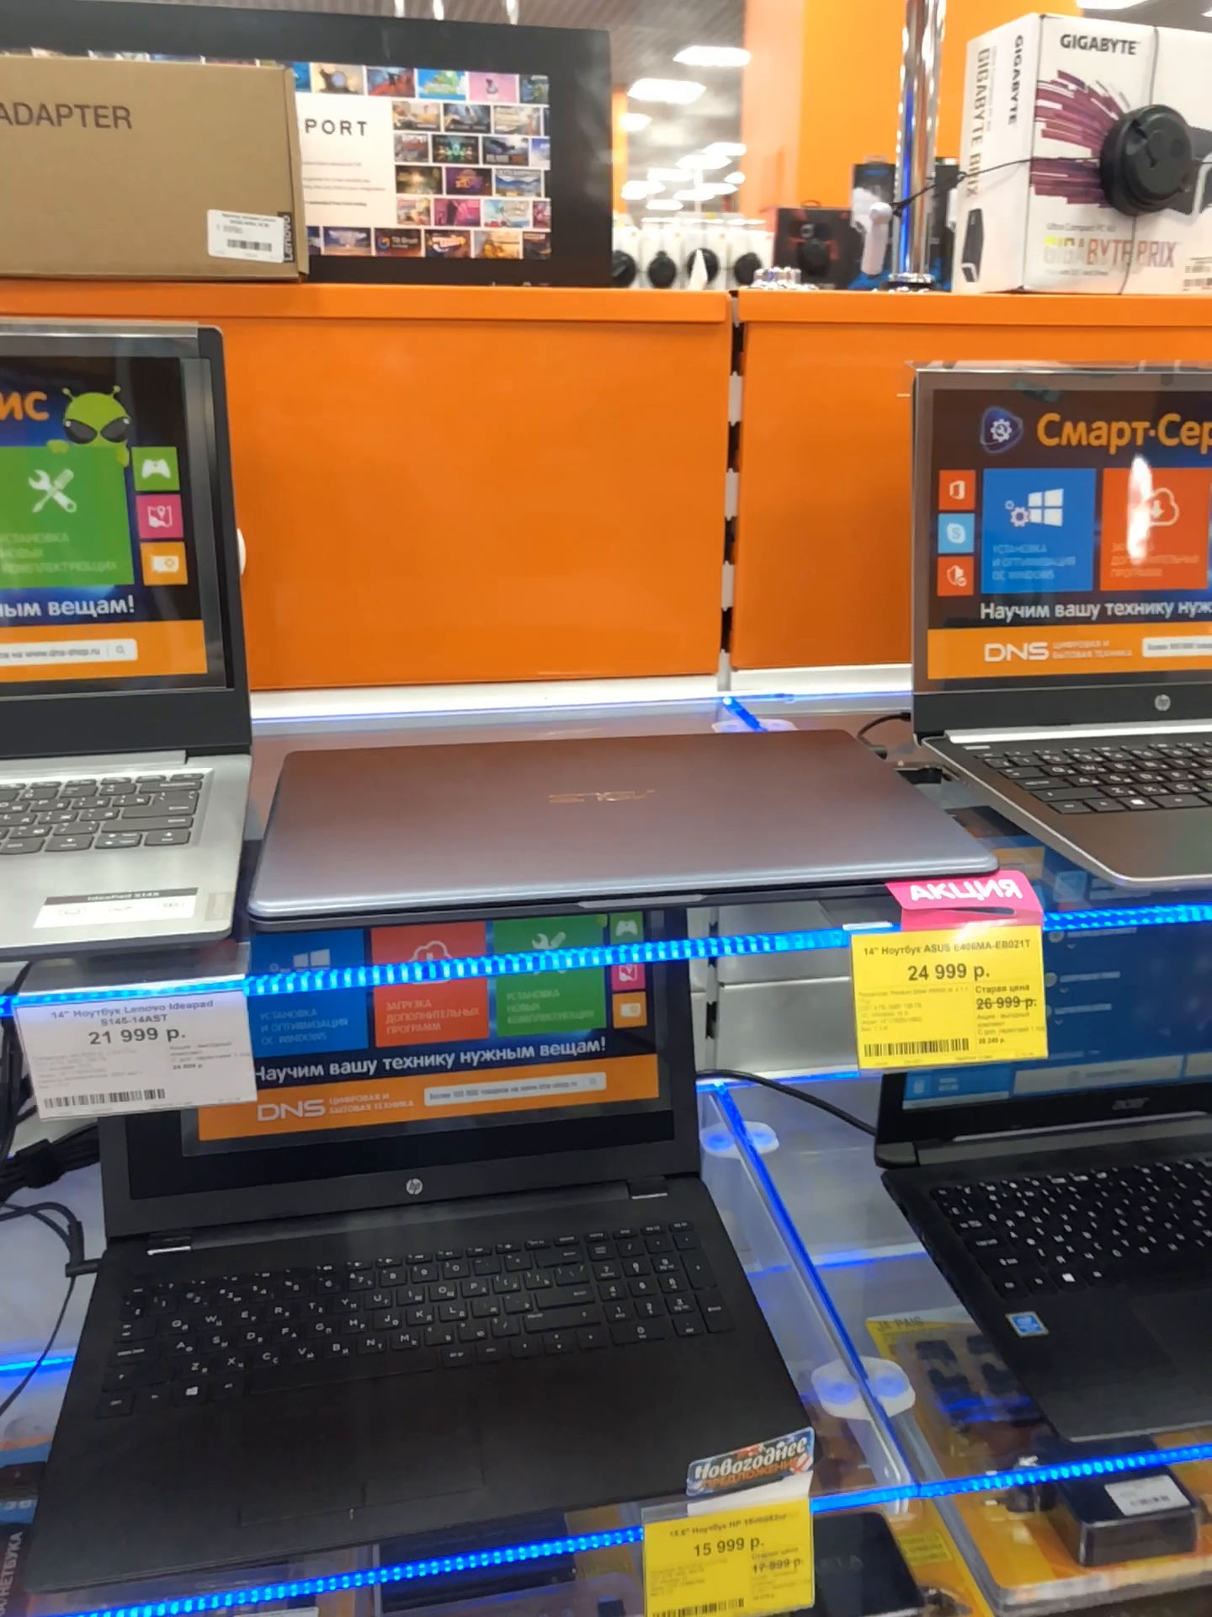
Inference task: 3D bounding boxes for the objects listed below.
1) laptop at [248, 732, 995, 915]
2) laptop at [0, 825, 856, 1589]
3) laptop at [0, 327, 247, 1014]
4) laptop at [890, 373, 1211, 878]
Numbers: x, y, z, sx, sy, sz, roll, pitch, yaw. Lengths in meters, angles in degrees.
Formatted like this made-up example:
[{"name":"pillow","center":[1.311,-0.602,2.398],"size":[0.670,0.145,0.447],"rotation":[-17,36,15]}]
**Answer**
[{"name":"laptop","center":[-0.002,-0.001,0.668],"size":[0.324,0.001,0.214],"rotation":[-3,20,-9]},{"name":"laptop","center":[-0.101,0.181,0.741],"size":[0.376,0.227,0.314],"rotation":[-4,20,-9]},{"name":"laptop","center":[-0.353,-0.093,0.591],"size":[0.353,0.225,0.290],"rotation":[-4,20,-11]},{"name":"laptop","center":[0.372,-0.118,0.714],"size":[0.336,0.205,0.272],"rotation":[-3,20,-11]}]
